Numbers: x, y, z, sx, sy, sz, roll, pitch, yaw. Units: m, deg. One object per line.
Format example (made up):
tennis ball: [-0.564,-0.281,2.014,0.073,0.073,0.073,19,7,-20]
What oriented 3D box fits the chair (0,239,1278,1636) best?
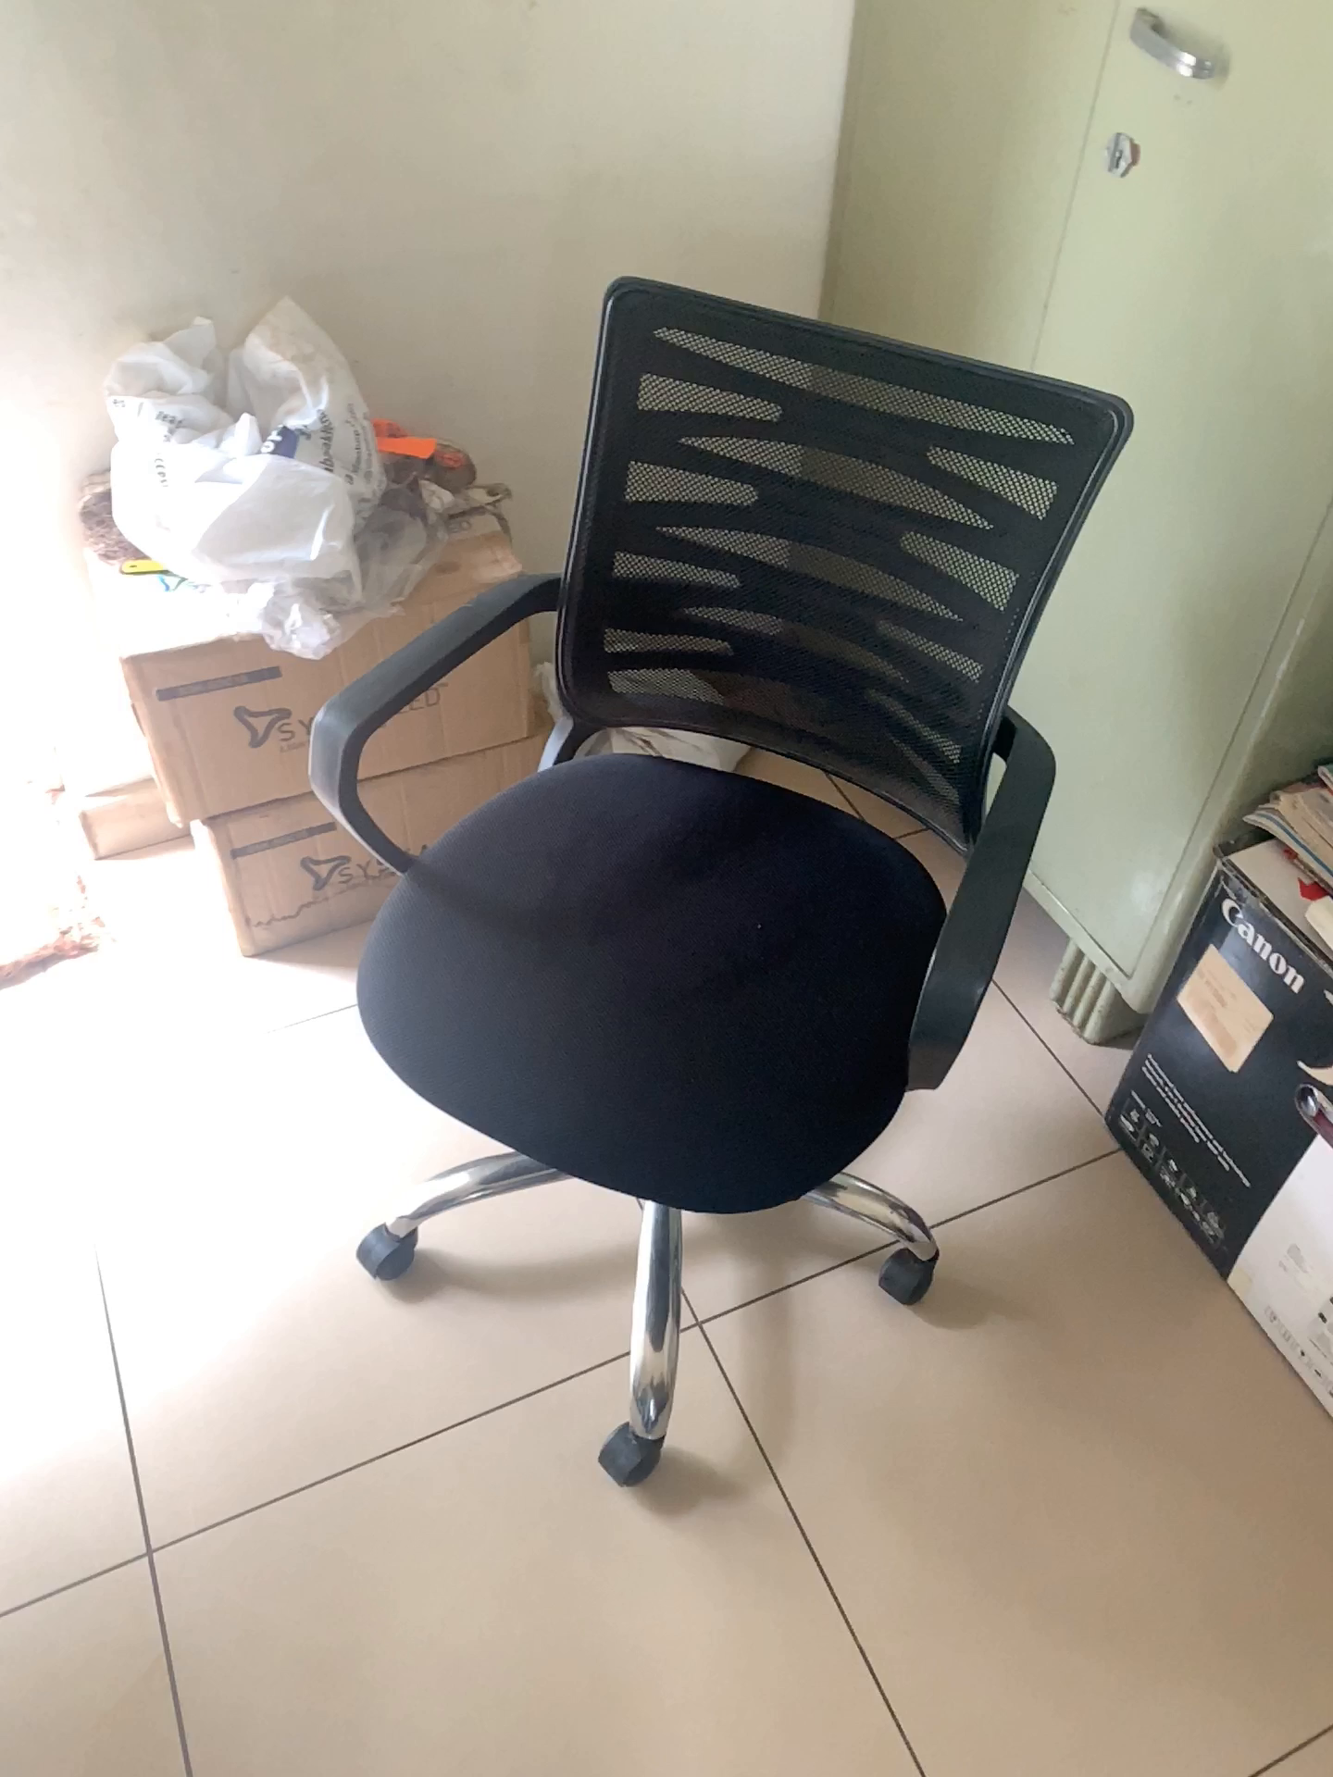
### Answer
chair: [0.011,0.068,1.298,0.681,0.996,0.652,20,47,16]
